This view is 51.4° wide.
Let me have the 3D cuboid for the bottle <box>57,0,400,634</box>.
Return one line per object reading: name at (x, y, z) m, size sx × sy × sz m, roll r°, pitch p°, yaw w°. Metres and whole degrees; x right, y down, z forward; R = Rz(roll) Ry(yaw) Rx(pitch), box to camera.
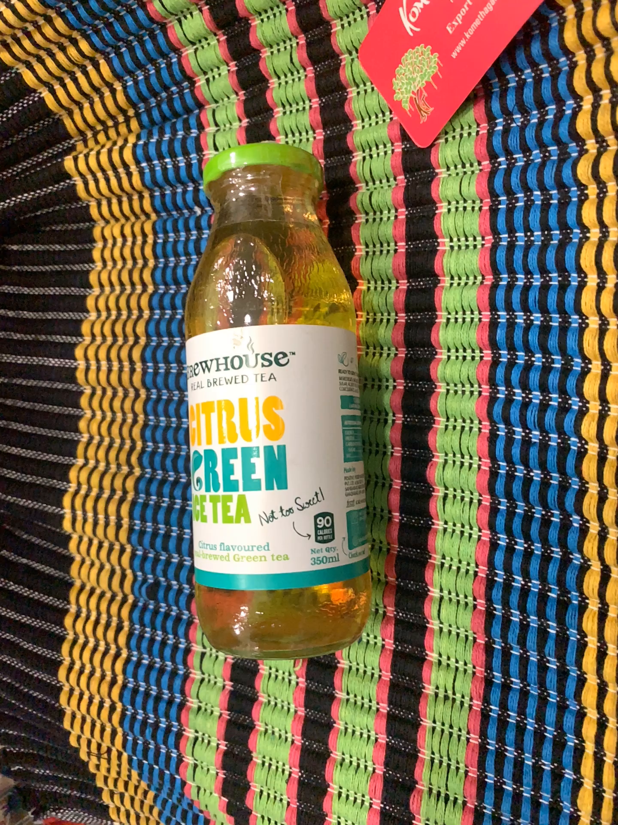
bottle at (-0.025, -0.029, 0.228) m, size 0.080 × 0.070 × 0.190 m, roll -7°, pitch 87°, yaw 23°
